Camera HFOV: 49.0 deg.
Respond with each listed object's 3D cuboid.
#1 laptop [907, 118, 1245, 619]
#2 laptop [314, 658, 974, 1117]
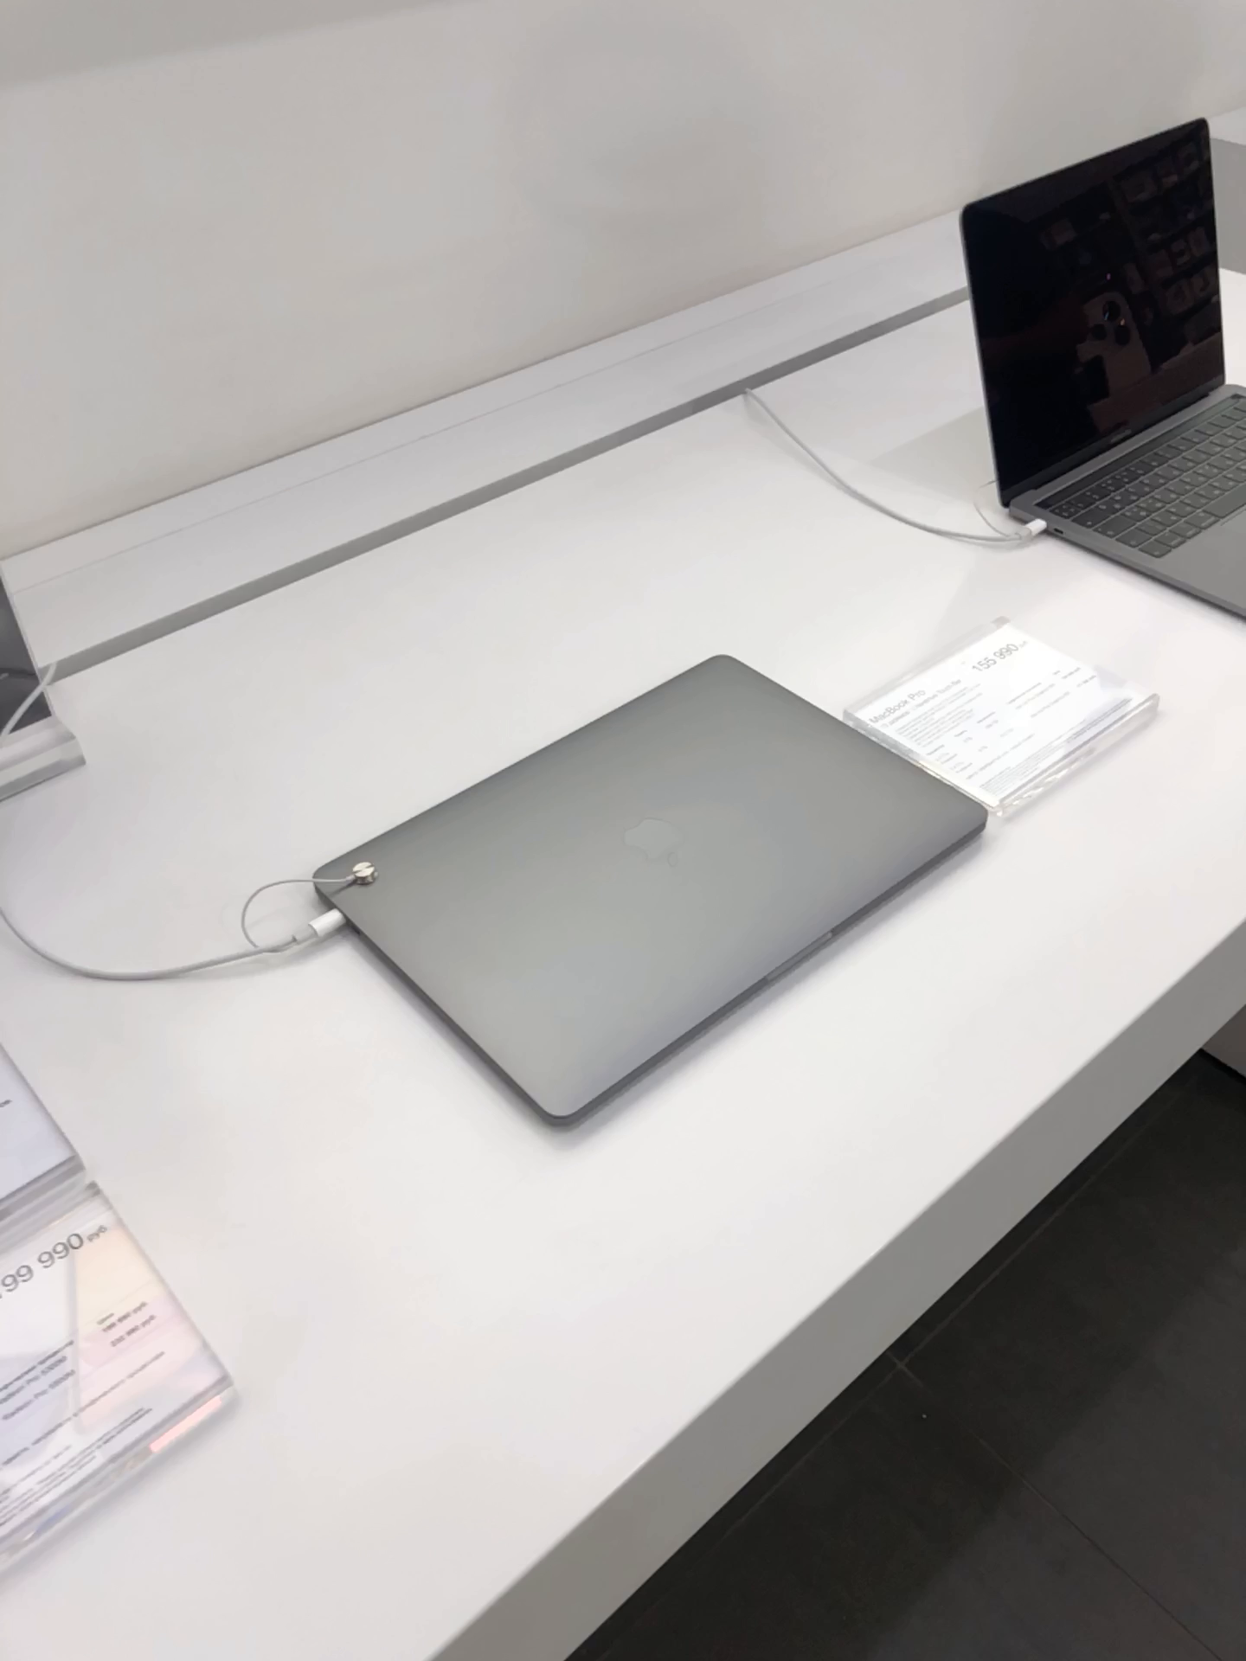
[{"bbox_3d":[0.420,-0.337,0.948,0.309,0.187,0.277,-32,51,-32],"label":"laptop"},{"bbox_3d":[0.012,0.009,0.712,0.280,0.001,0.202,-31,49,-27],"label":"laptop"}]
